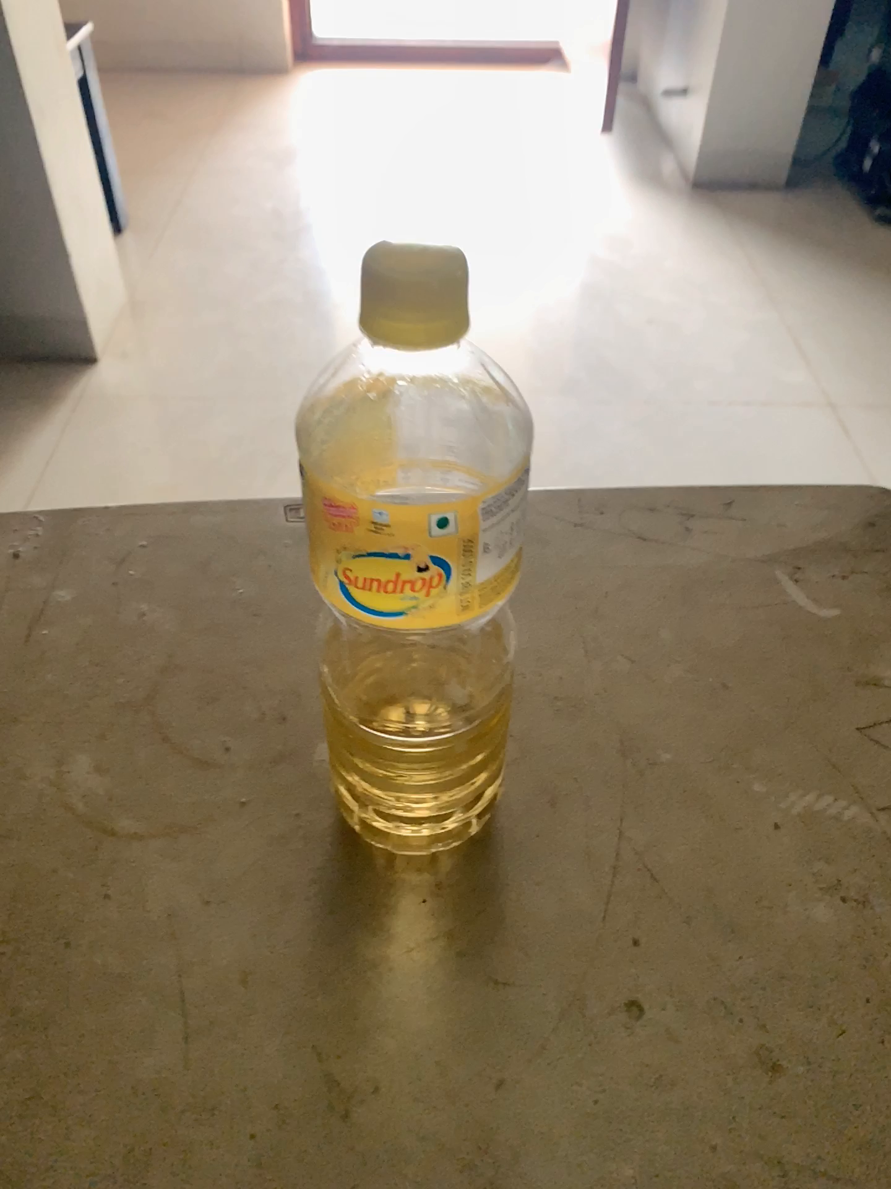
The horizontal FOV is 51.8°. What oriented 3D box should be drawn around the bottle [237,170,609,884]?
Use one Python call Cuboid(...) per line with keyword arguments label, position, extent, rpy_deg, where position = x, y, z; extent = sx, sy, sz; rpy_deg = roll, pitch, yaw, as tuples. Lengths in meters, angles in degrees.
Cuboid(label="bottle", position=(-0.003, -0.003, 0.352), extent=(0.090, 0.269, 0.090), rpy_deg=(1, 45, -1))
